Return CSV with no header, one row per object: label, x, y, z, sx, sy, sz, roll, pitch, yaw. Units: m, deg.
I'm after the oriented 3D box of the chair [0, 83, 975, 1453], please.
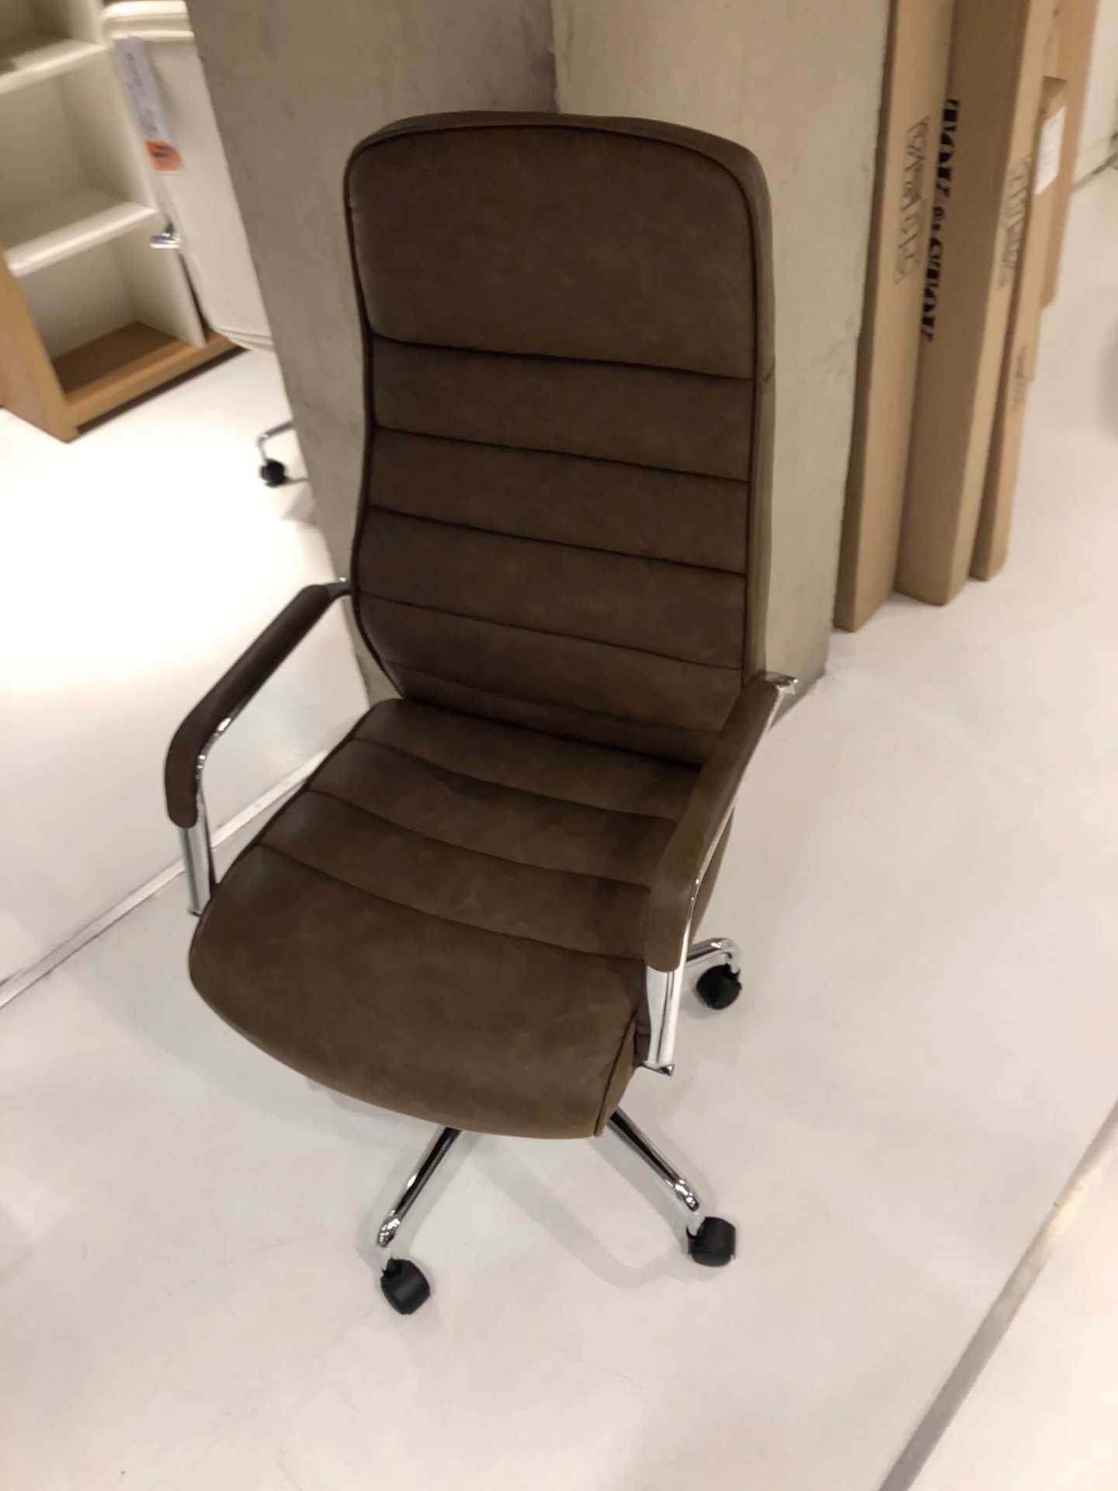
chair,-0.088,0.033,1.136,0.641,0.963,0.634,16,49,22
